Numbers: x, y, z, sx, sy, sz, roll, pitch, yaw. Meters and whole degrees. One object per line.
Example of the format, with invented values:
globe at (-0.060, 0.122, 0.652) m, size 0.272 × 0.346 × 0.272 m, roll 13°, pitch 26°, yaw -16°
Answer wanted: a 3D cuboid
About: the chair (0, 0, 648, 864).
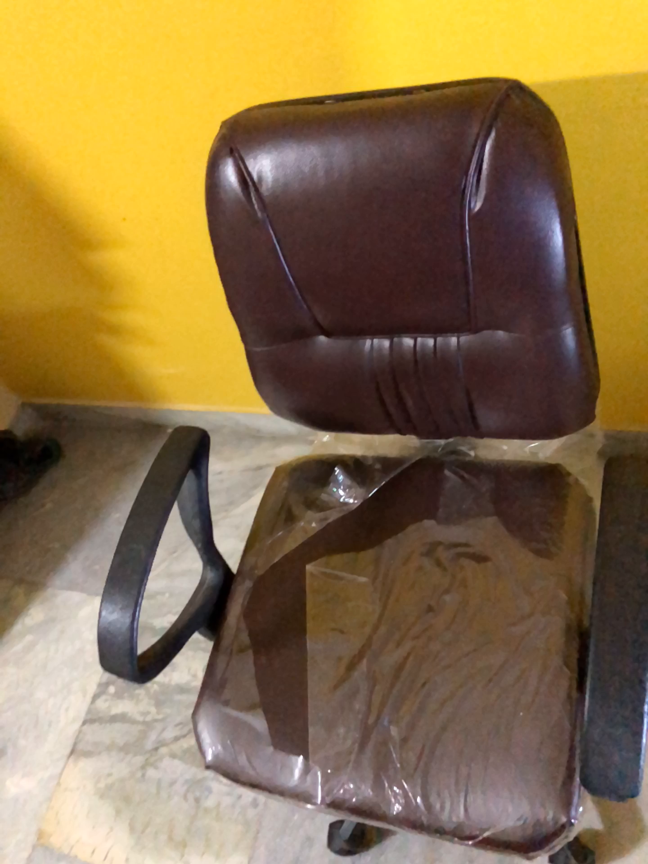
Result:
chair at (0.090, 0.164, 0.886) m, size 0.690 × 0.976 × 0.683 m, roll -1°, pitch 57°, yaw 22°
